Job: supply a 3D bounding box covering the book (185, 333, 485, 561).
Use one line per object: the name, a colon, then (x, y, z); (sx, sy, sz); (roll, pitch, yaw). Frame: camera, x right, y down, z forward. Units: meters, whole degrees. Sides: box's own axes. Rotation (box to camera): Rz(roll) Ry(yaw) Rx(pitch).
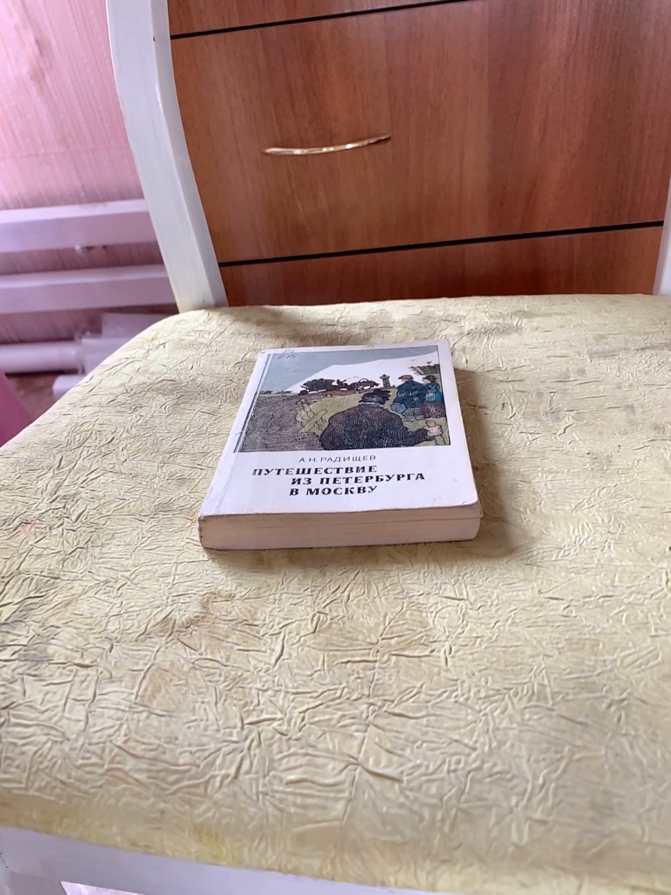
book: (0.005, -0.010, 0.329); (0.111, 0.020, 0.163); (-2, 32, 6)
